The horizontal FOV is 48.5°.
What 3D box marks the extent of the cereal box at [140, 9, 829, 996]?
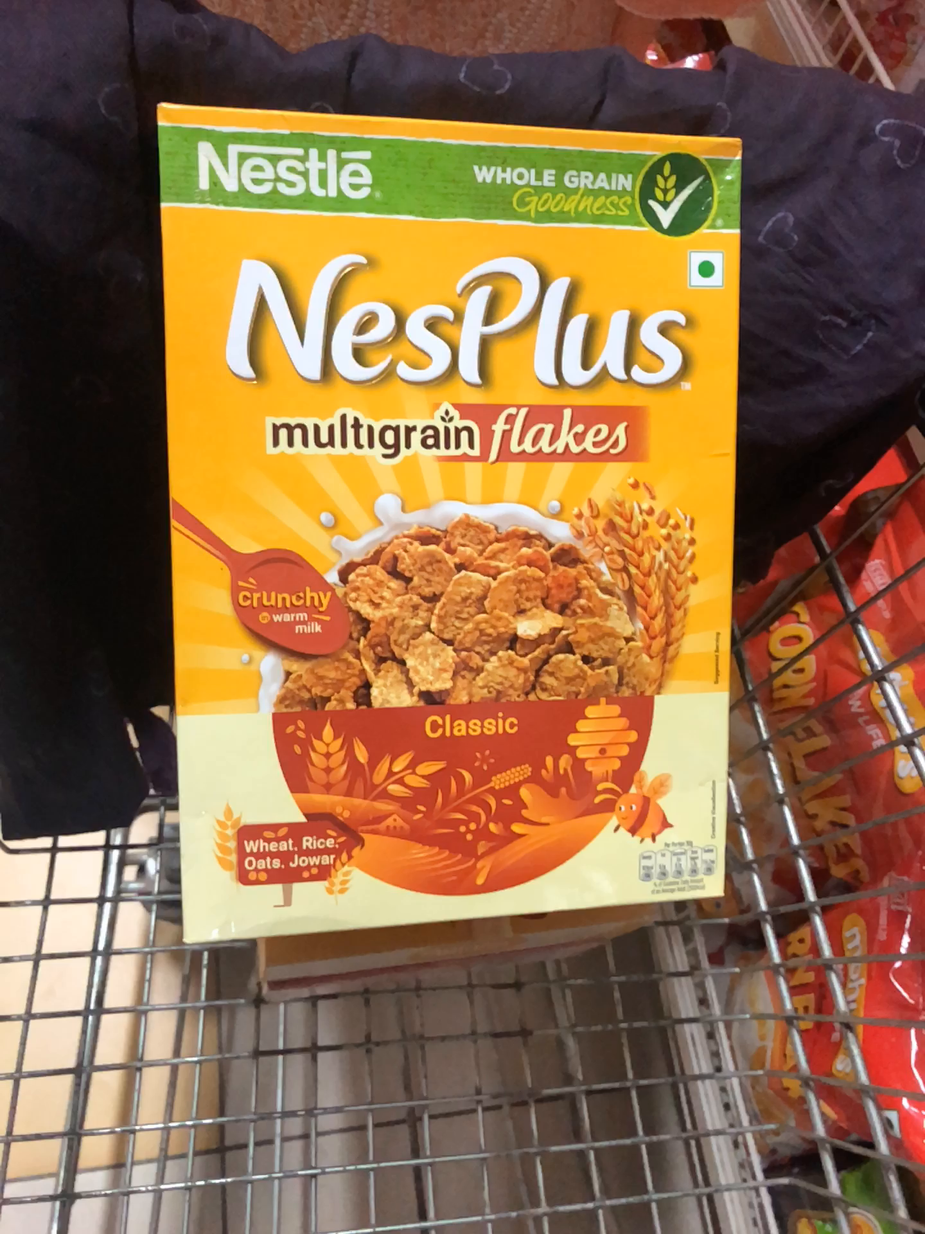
[{"bbox_3d":[0.002,-0.030,0.333,0.190,0.080,0.260,-2,100,-15],"label":"cereal box"}]
